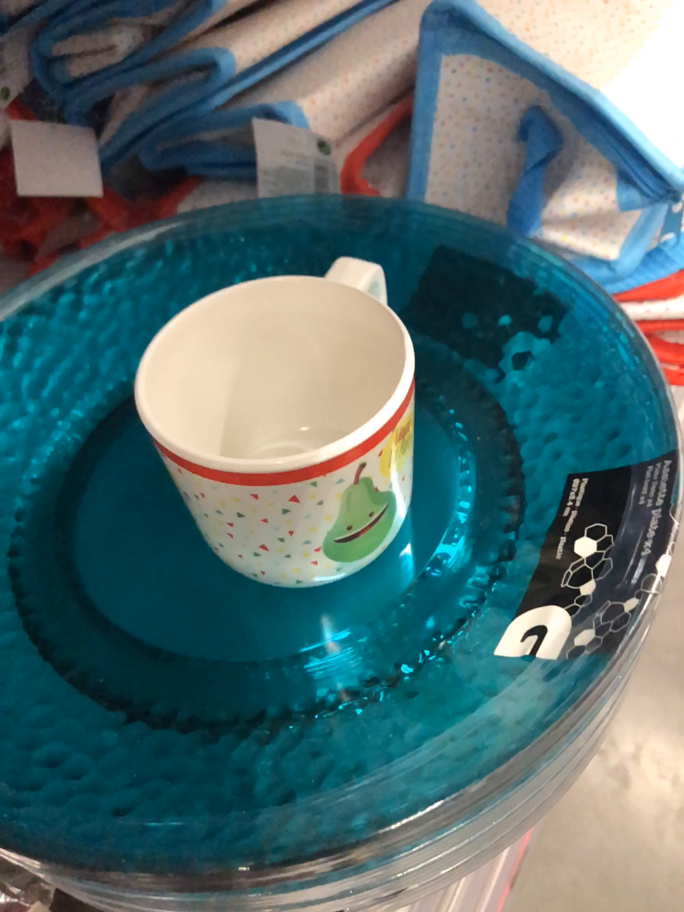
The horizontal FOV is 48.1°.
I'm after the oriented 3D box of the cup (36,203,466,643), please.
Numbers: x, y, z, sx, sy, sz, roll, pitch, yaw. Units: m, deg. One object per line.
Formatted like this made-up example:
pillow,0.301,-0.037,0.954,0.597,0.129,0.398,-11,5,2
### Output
cup,-0.017,-0.015,0.226,0.076,0.059,0.103,15,53,18
